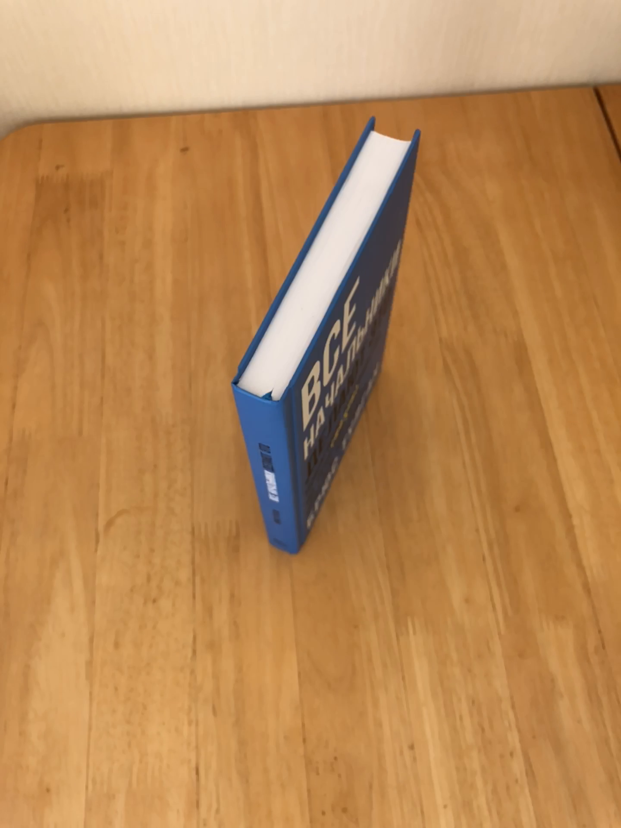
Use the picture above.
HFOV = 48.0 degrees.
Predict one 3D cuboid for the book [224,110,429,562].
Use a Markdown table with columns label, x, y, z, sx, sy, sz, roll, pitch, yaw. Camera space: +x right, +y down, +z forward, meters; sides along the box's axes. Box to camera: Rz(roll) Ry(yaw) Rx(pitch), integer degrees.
| label | x | y | z | sx | sy | sz | roll | pitch | yaw |
| --- | --- | --- | --- | --- | --- | --- | --- | --- | --- |
| book | 0.011 | -0.021 | 0.366 | 0.025 | 0.208 | 0.150 | 21 | 66 | 10 |
